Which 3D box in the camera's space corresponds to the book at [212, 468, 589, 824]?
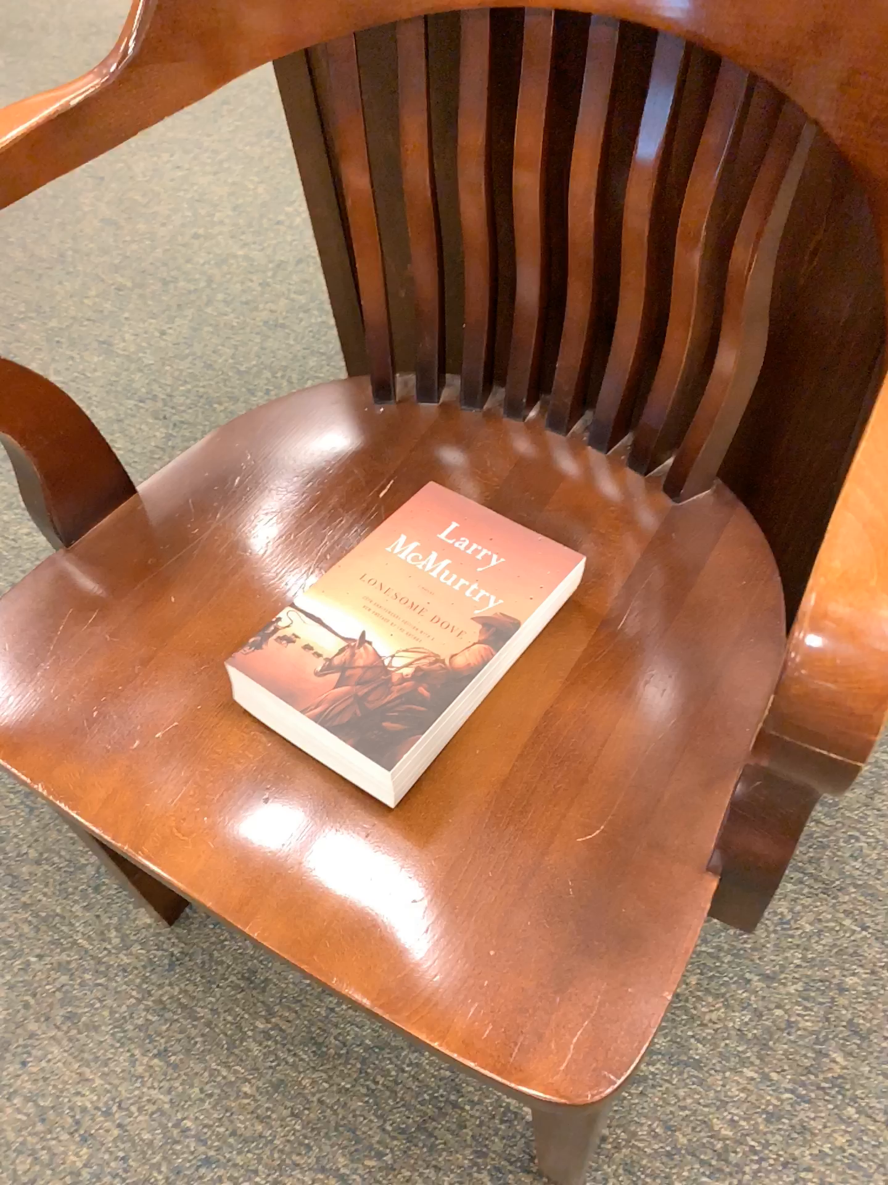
[{"bbox_3d":[-0.022,0.023,0.588,0.140,0.060,0.201,28,56,26],"label":"book"}]
